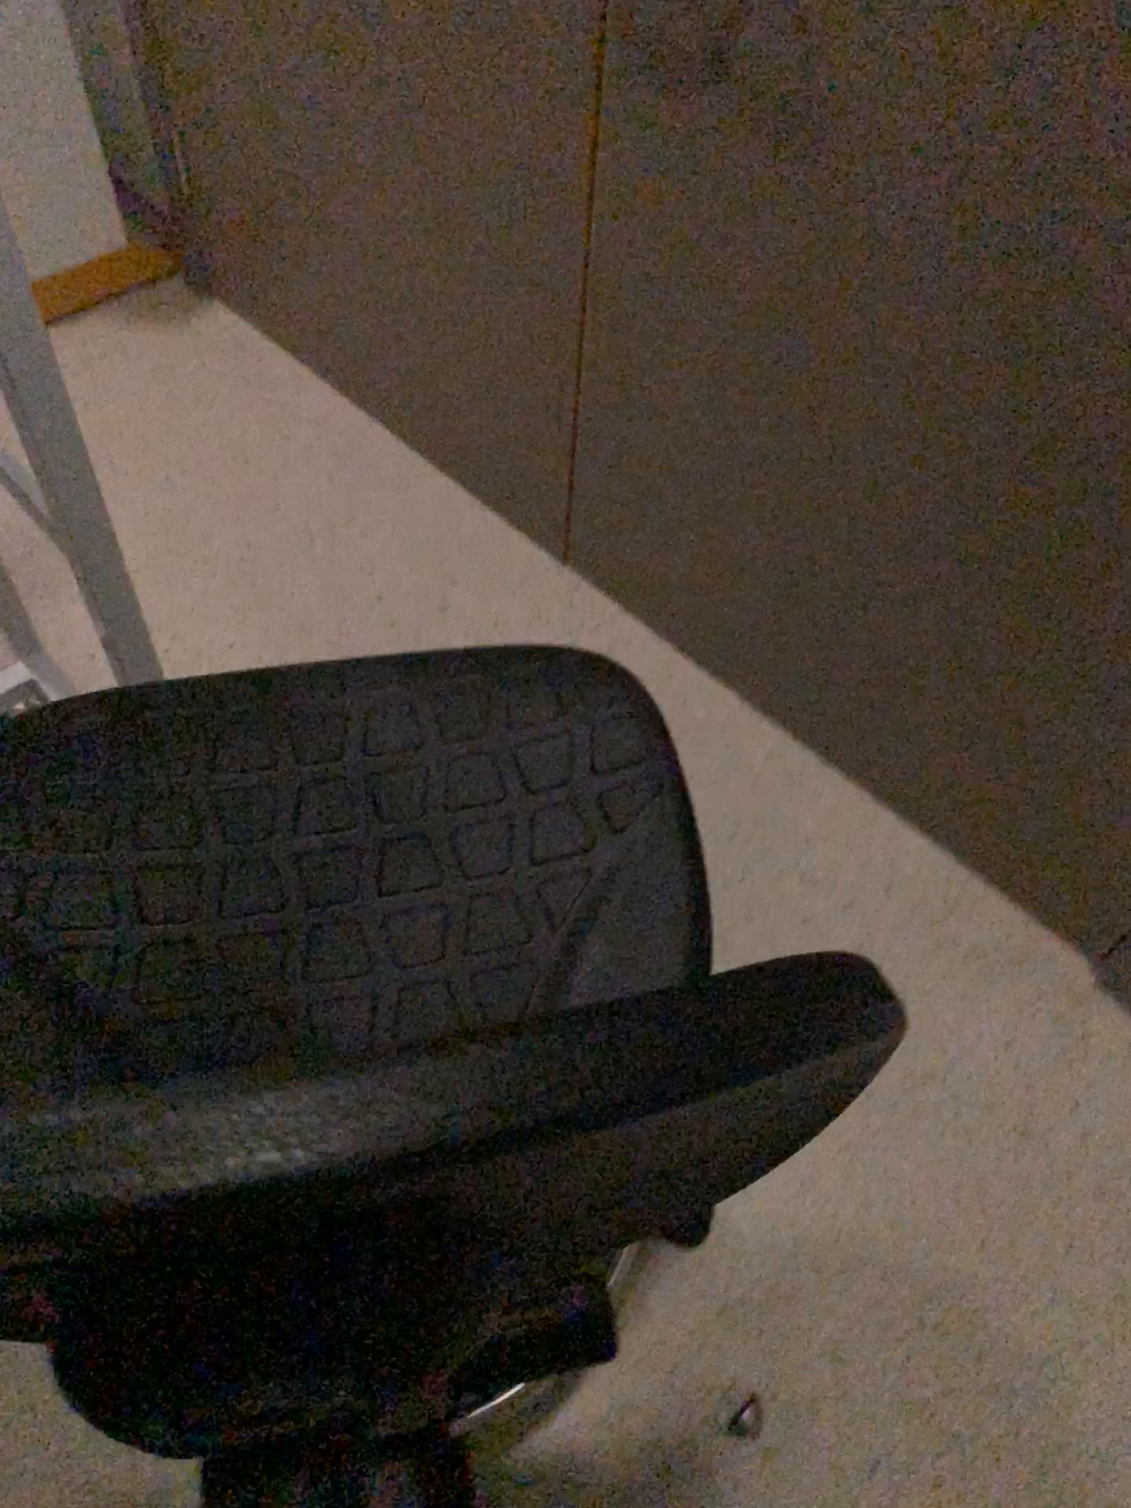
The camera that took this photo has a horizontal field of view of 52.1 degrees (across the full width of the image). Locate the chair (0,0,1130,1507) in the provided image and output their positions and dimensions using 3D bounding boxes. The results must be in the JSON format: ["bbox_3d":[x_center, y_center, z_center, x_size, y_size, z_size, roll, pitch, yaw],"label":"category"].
[{"bbox_3d":[-0.112,0.106,0.705,0.620,0.934,0.674,-6,54,-8],"label":"chair"}]
